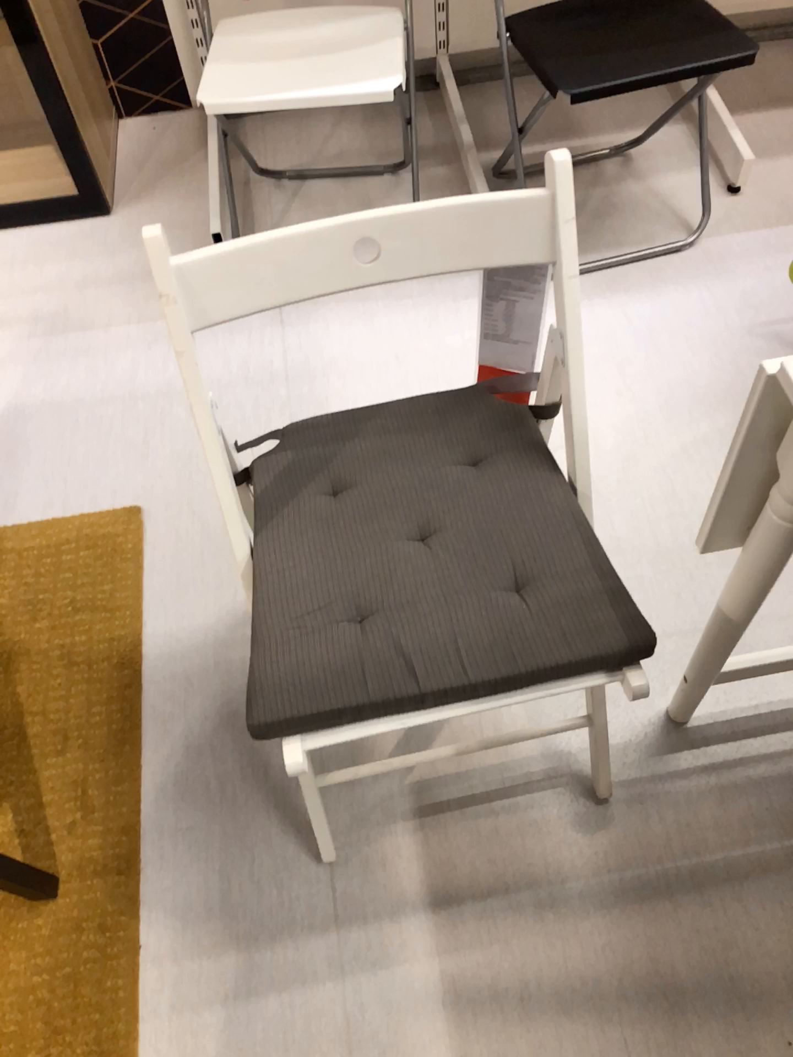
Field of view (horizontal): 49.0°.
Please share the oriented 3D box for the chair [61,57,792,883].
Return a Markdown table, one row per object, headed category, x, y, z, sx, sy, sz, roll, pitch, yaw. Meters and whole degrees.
| category | x | y | z | sx | sy | sz | roll | pitch | yaw |
| --- | --- | --- | --- | --- | --- | --- | --- | --- | --- |
| chair | 0.014 | 0.013 | 0.901 | 0.440 | 0.697 | 0.452 | -11 | 57 | -3 |
